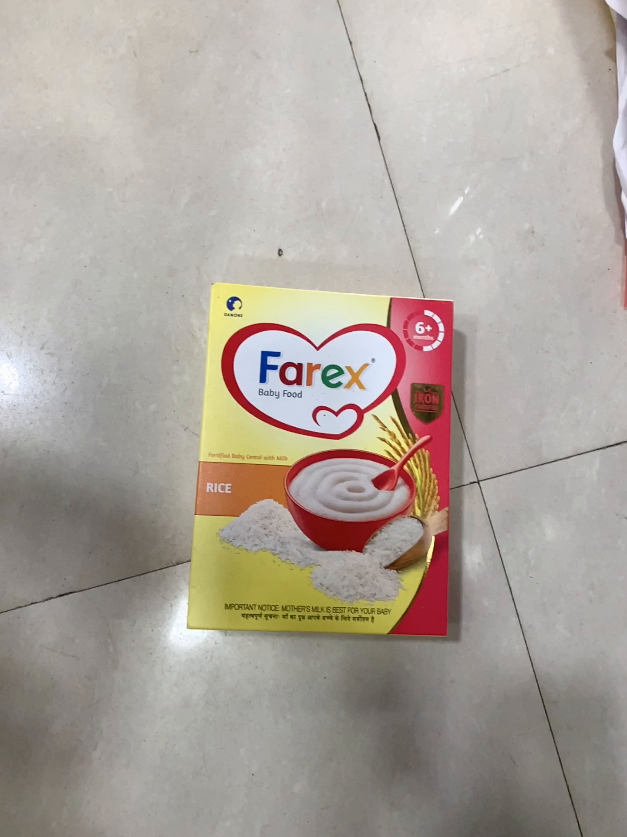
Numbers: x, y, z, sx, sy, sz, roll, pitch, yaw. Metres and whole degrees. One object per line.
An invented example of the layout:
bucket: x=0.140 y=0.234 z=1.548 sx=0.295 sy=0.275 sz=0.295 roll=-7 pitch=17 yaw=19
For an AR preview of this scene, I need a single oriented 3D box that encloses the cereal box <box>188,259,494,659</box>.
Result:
cereal box: x=0.017 y=0.024 z=0.379 sx=0.160 sy=0.060 sz=0.210 roll=3 pitch=81 yaw=-5
